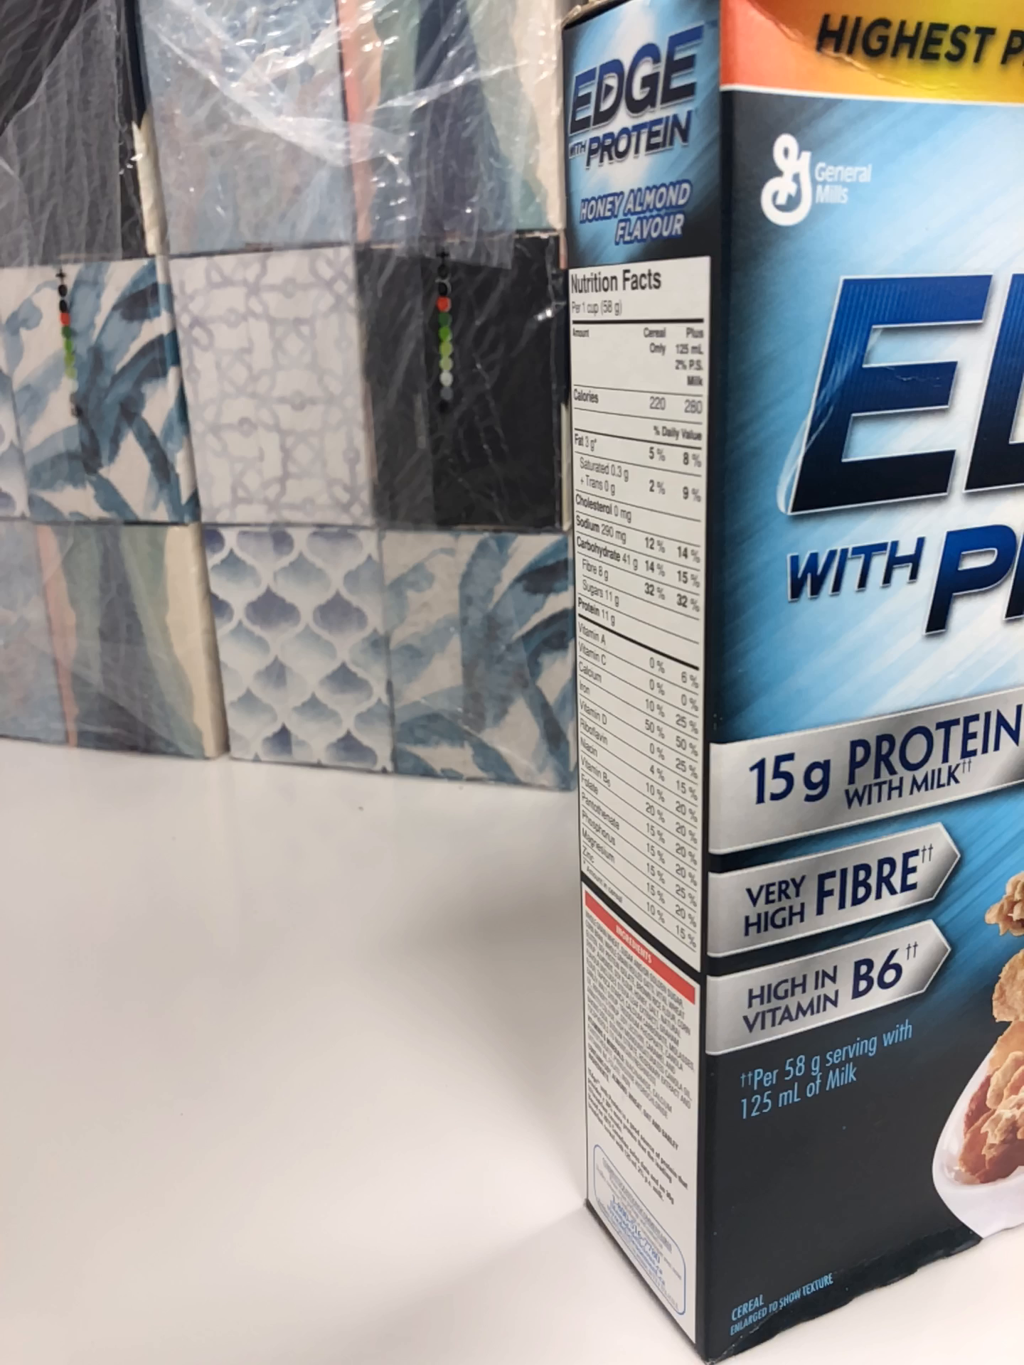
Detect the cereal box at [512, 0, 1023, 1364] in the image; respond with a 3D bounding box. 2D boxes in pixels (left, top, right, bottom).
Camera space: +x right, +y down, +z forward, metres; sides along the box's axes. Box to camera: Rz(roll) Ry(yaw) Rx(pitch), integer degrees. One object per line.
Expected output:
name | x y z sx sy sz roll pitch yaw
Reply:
cereal box | 0.107 0.002 0.259 0.200 0.279 0.050 -11 20 -23
